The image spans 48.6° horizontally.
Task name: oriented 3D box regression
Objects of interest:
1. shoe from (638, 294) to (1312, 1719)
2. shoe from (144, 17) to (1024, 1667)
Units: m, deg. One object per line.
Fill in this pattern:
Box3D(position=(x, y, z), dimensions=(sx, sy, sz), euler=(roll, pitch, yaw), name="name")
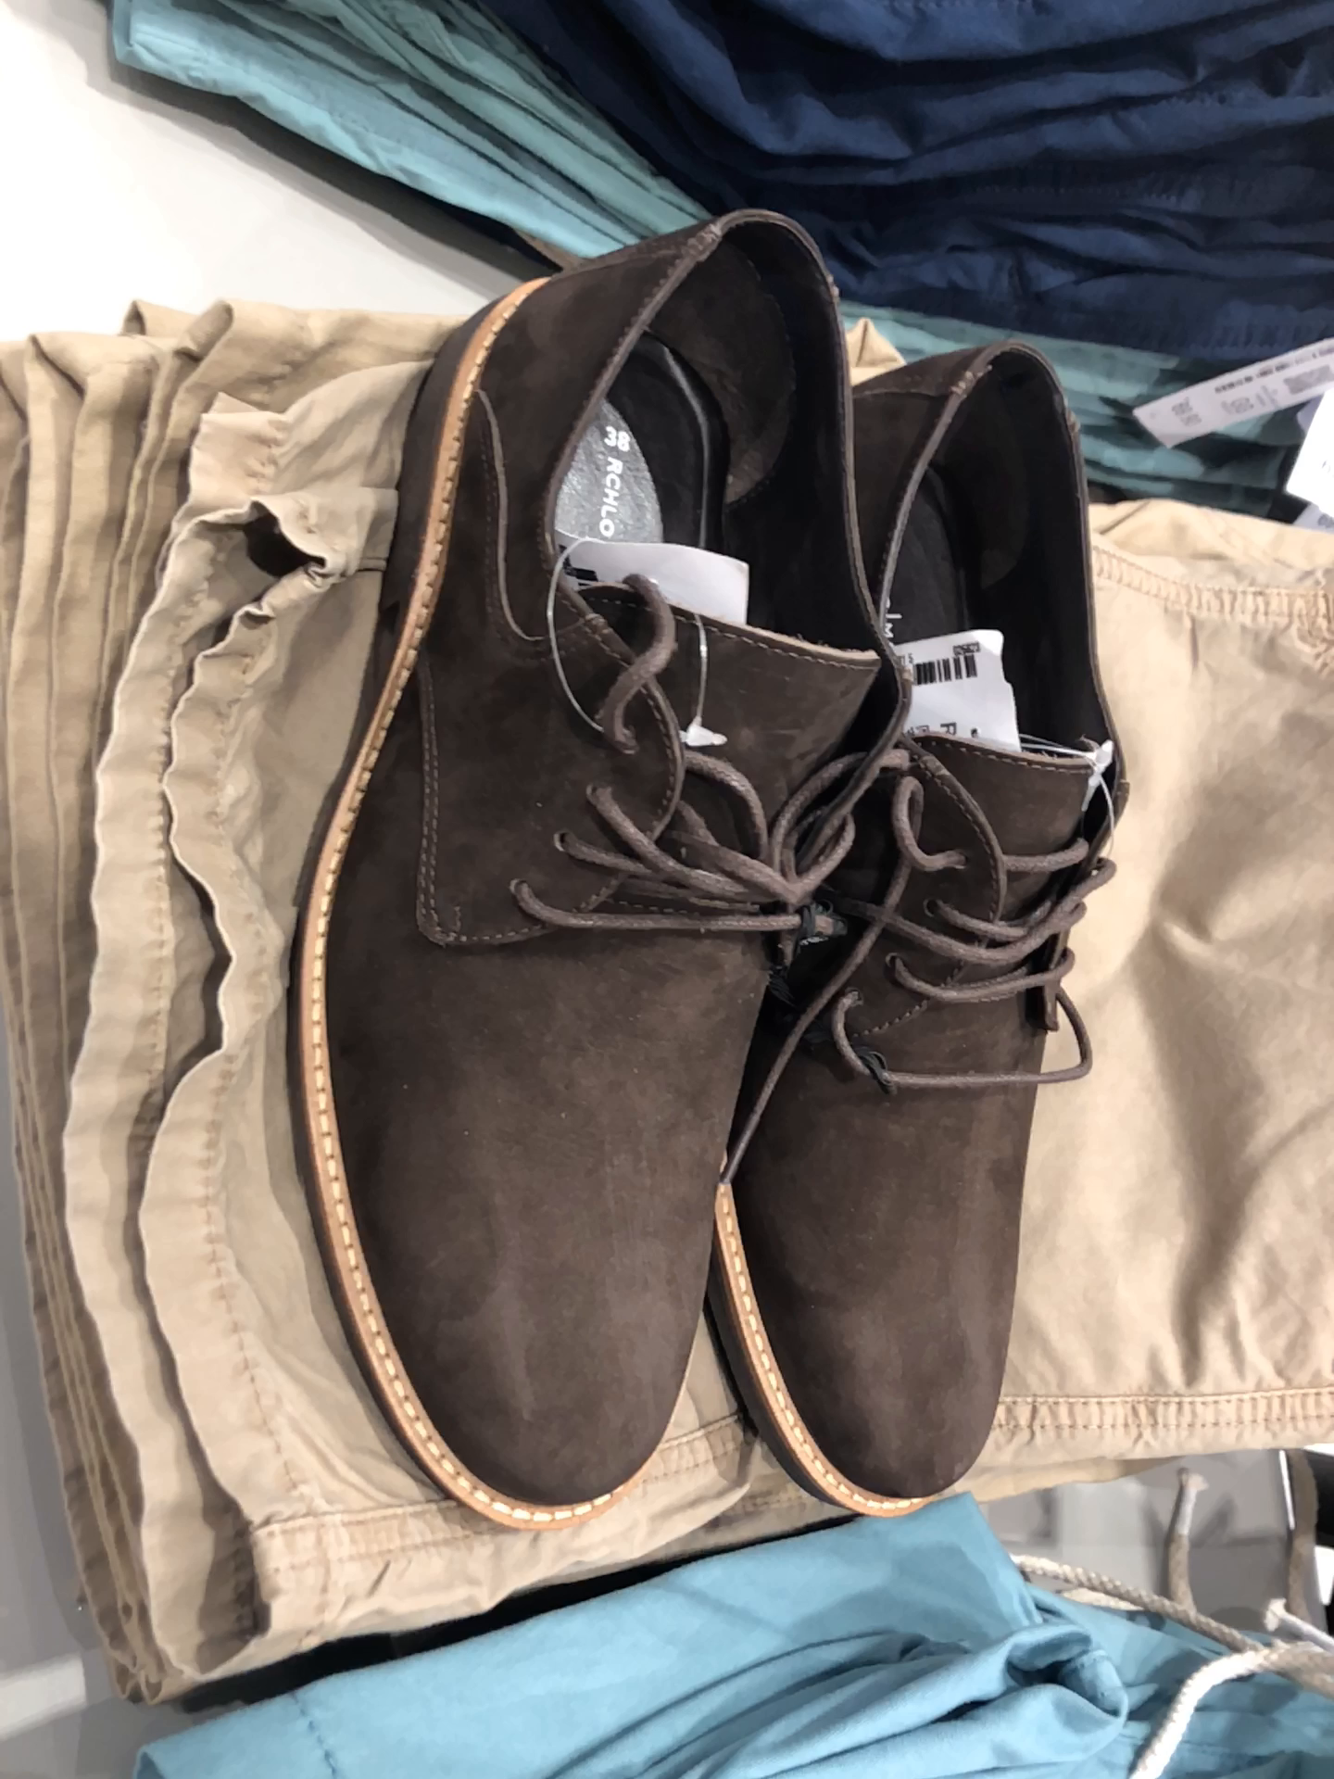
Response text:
Box3D(position=(0.063, 0.022, 0.342), dimensions=(0.101, 0.109, 0.260), euler=(2, 84, -28), name="shoe")
Box3D(position=(-0.018, -0.005, 0.305), dimensions=(0.111, 0.109, 0.260), euler=(11, 83, -31), name="shoe")
